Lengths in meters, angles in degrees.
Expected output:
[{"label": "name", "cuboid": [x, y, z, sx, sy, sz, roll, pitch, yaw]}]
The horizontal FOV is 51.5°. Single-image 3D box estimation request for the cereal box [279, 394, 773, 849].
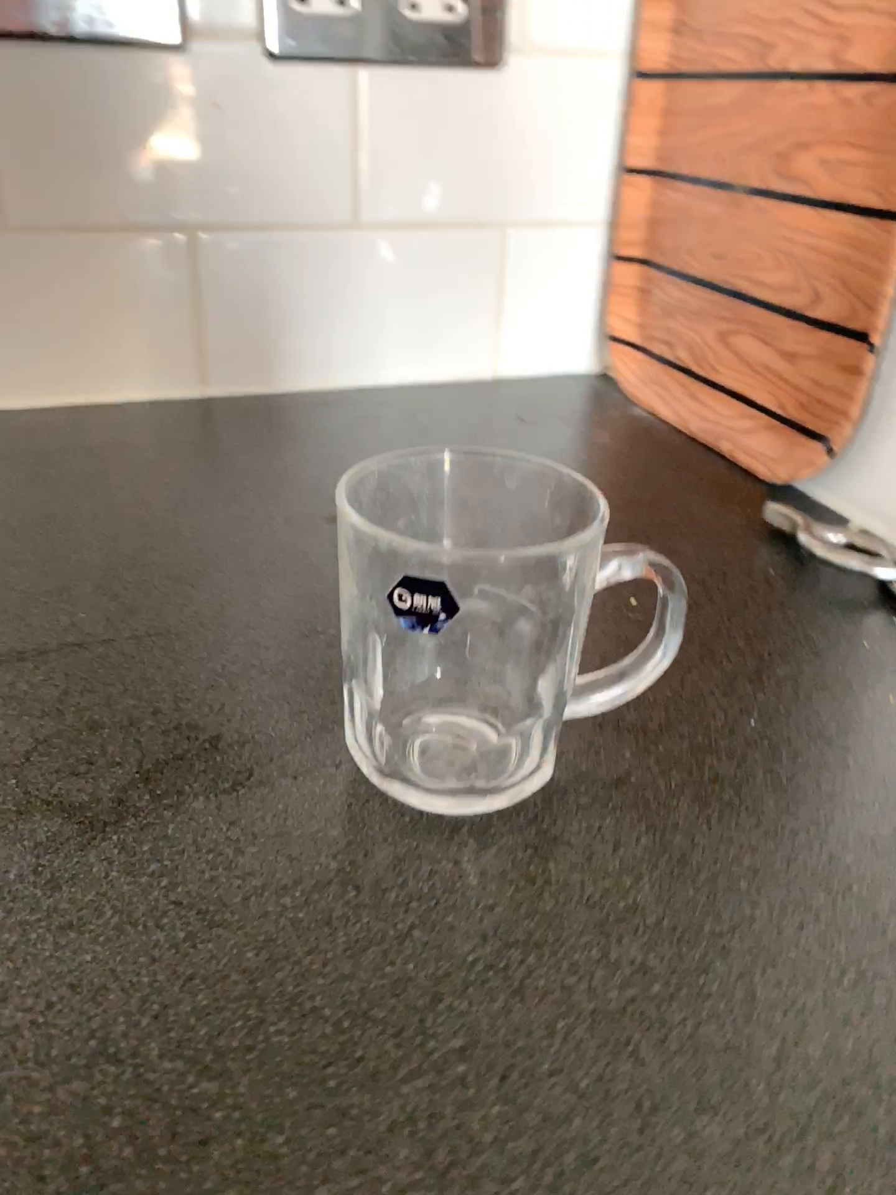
[{"label": "cereal box", "cuboid": [0.016, 0.000, 0.272, 0.110, 0.089, 0.081, -9, 30, -20]}]
